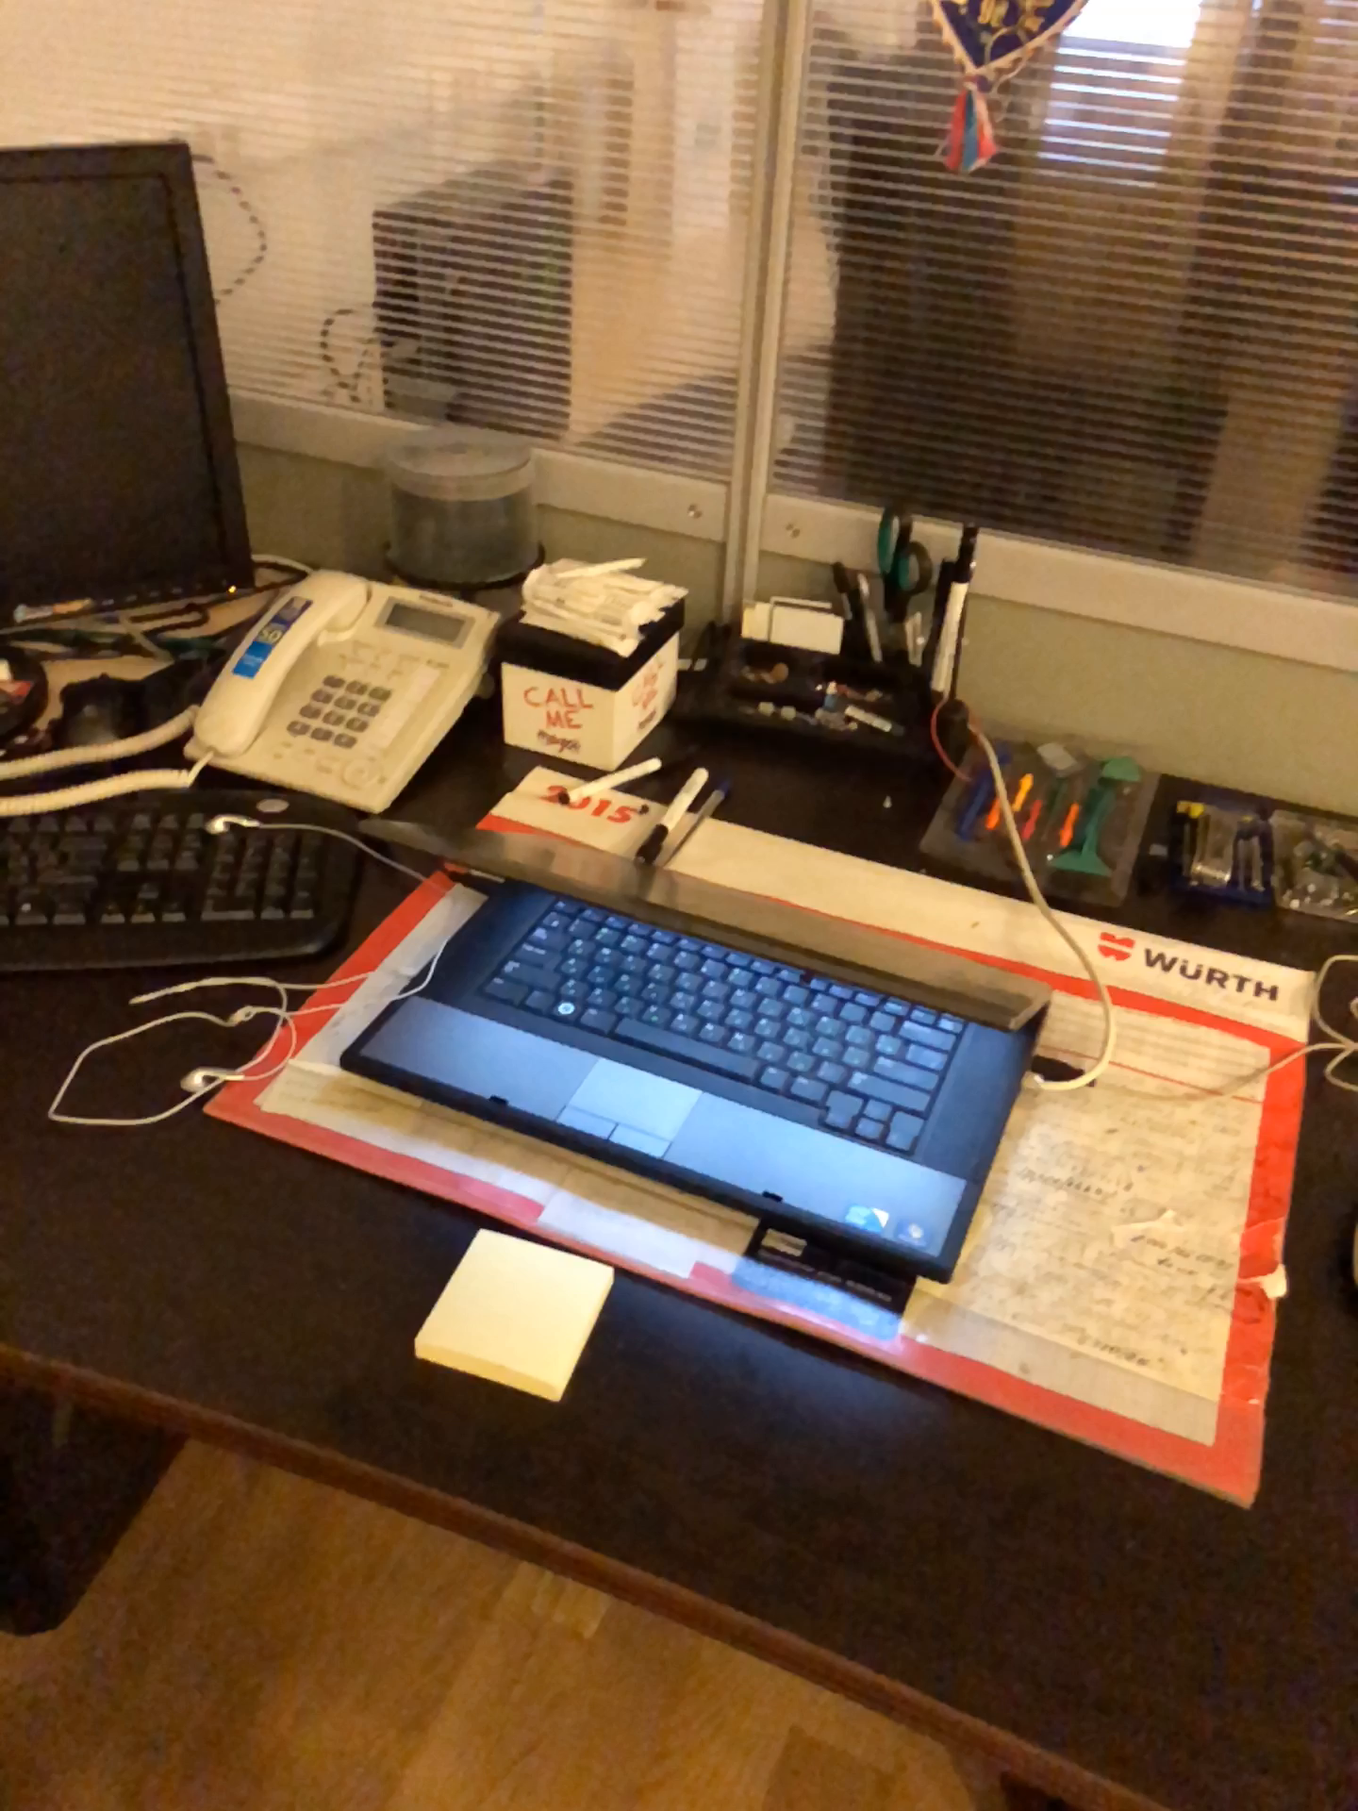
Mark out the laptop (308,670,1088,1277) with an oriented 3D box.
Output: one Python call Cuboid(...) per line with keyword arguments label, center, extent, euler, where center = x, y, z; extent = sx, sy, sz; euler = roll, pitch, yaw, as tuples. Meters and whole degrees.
Cuboid(label="laptop", center=(0.018, 0.018, 0.850), extent=(0.357, 0.141, 0.240), euler=(17, 38, 16))
